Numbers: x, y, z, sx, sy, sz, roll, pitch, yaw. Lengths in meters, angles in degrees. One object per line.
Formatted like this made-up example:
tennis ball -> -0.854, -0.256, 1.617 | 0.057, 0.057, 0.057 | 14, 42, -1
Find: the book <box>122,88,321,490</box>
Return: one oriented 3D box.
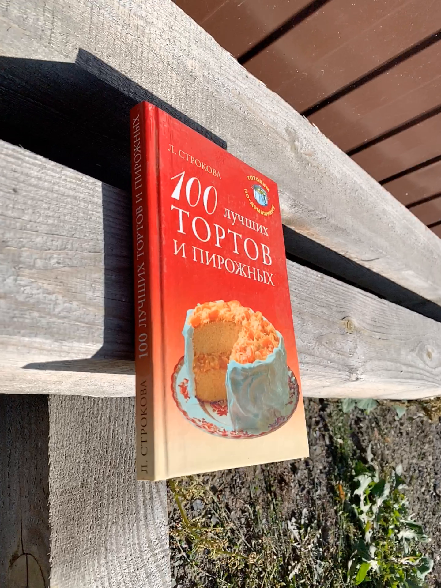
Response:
book -> 0.003, -0.003, 0.290 | 0.143, 0.017, 0.218 | 15, 63, -47
